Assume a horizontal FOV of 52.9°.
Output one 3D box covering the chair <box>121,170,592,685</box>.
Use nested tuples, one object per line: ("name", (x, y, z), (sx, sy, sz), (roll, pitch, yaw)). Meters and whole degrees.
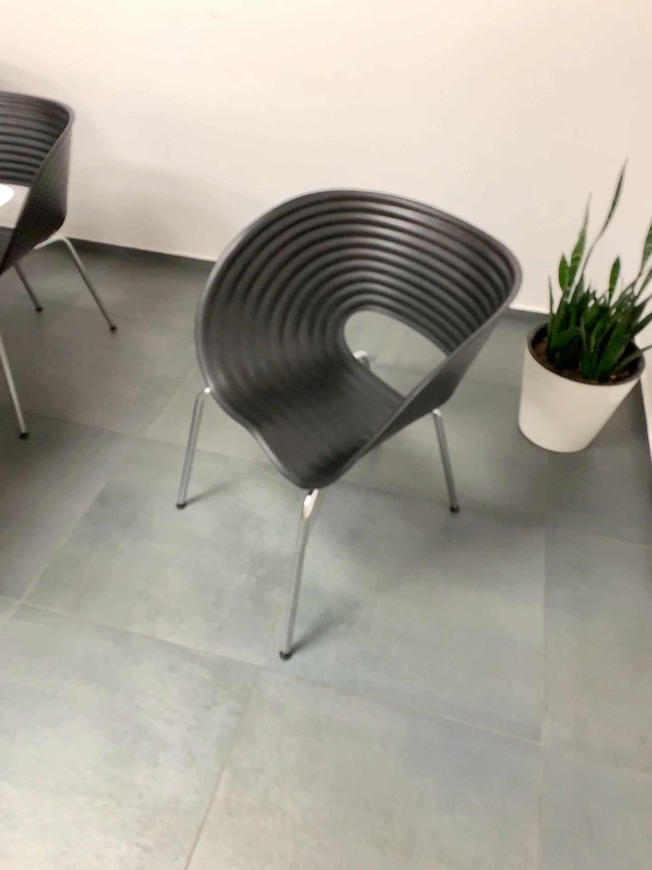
("chair", (0.027, -0.046, 1.519), (0.641, 0.796, 0.652), (-24, 48, -27))
